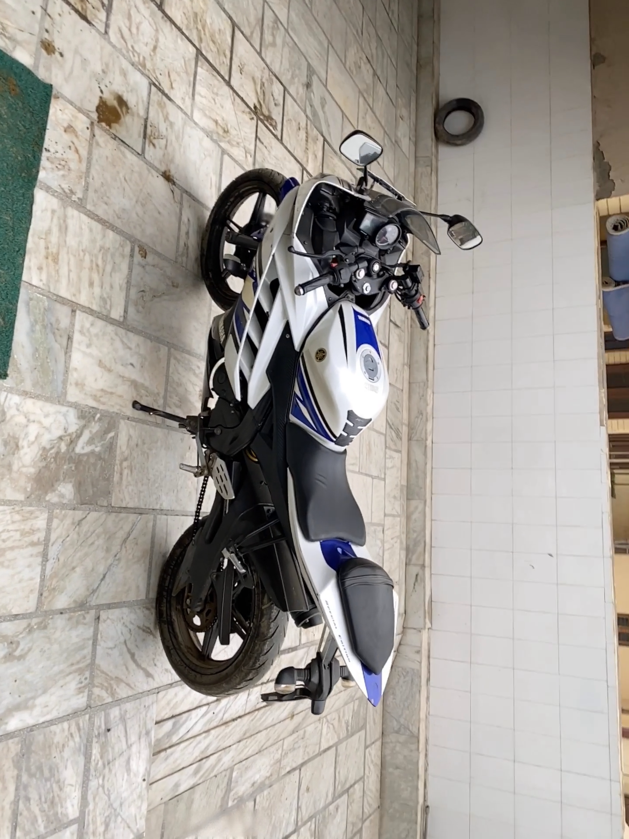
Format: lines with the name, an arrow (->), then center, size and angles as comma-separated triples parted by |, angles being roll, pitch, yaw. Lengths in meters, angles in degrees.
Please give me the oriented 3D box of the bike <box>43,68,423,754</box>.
bike -> -0.237, -0.064, 2.204 | 0.737, 0.903, 1.881 | 26, 61, -60
